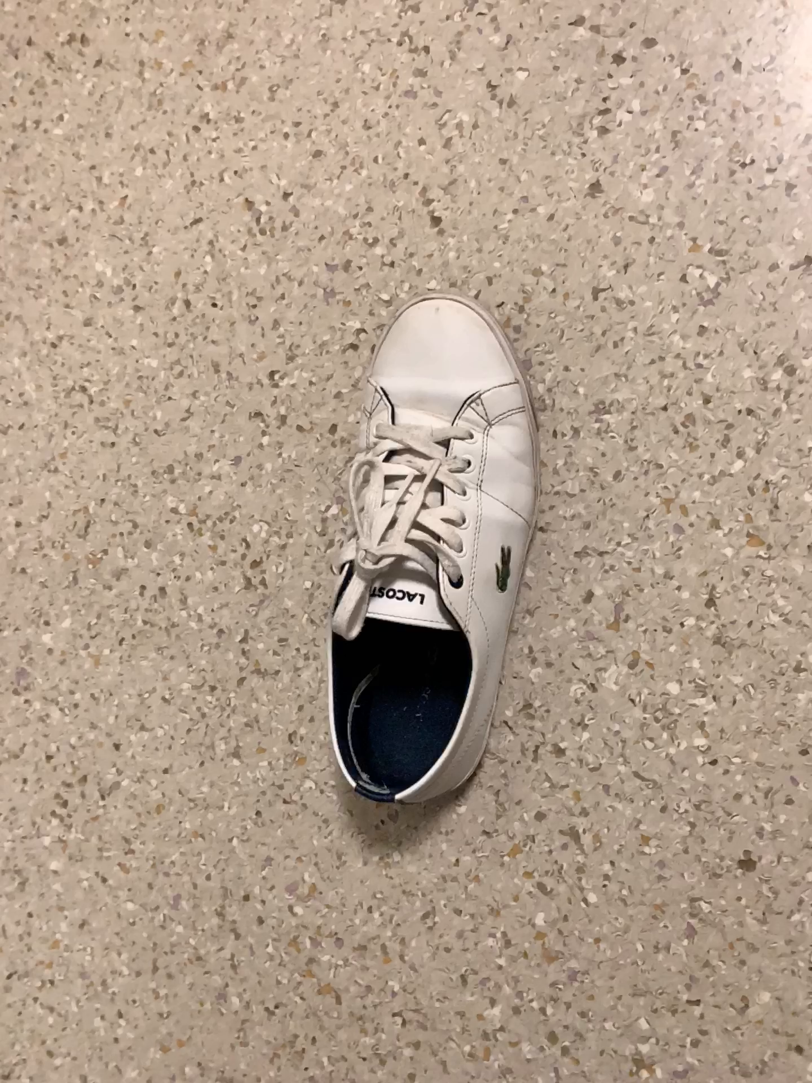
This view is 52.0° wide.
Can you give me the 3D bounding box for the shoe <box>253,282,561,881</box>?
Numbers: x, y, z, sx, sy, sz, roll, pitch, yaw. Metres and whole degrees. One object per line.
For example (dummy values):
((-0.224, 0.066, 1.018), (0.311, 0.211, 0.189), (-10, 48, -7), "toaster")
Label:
((0.005, 0.013, 0.405), (0.100, 0.090, 0.250), (6, 91, 19), "shoe")
